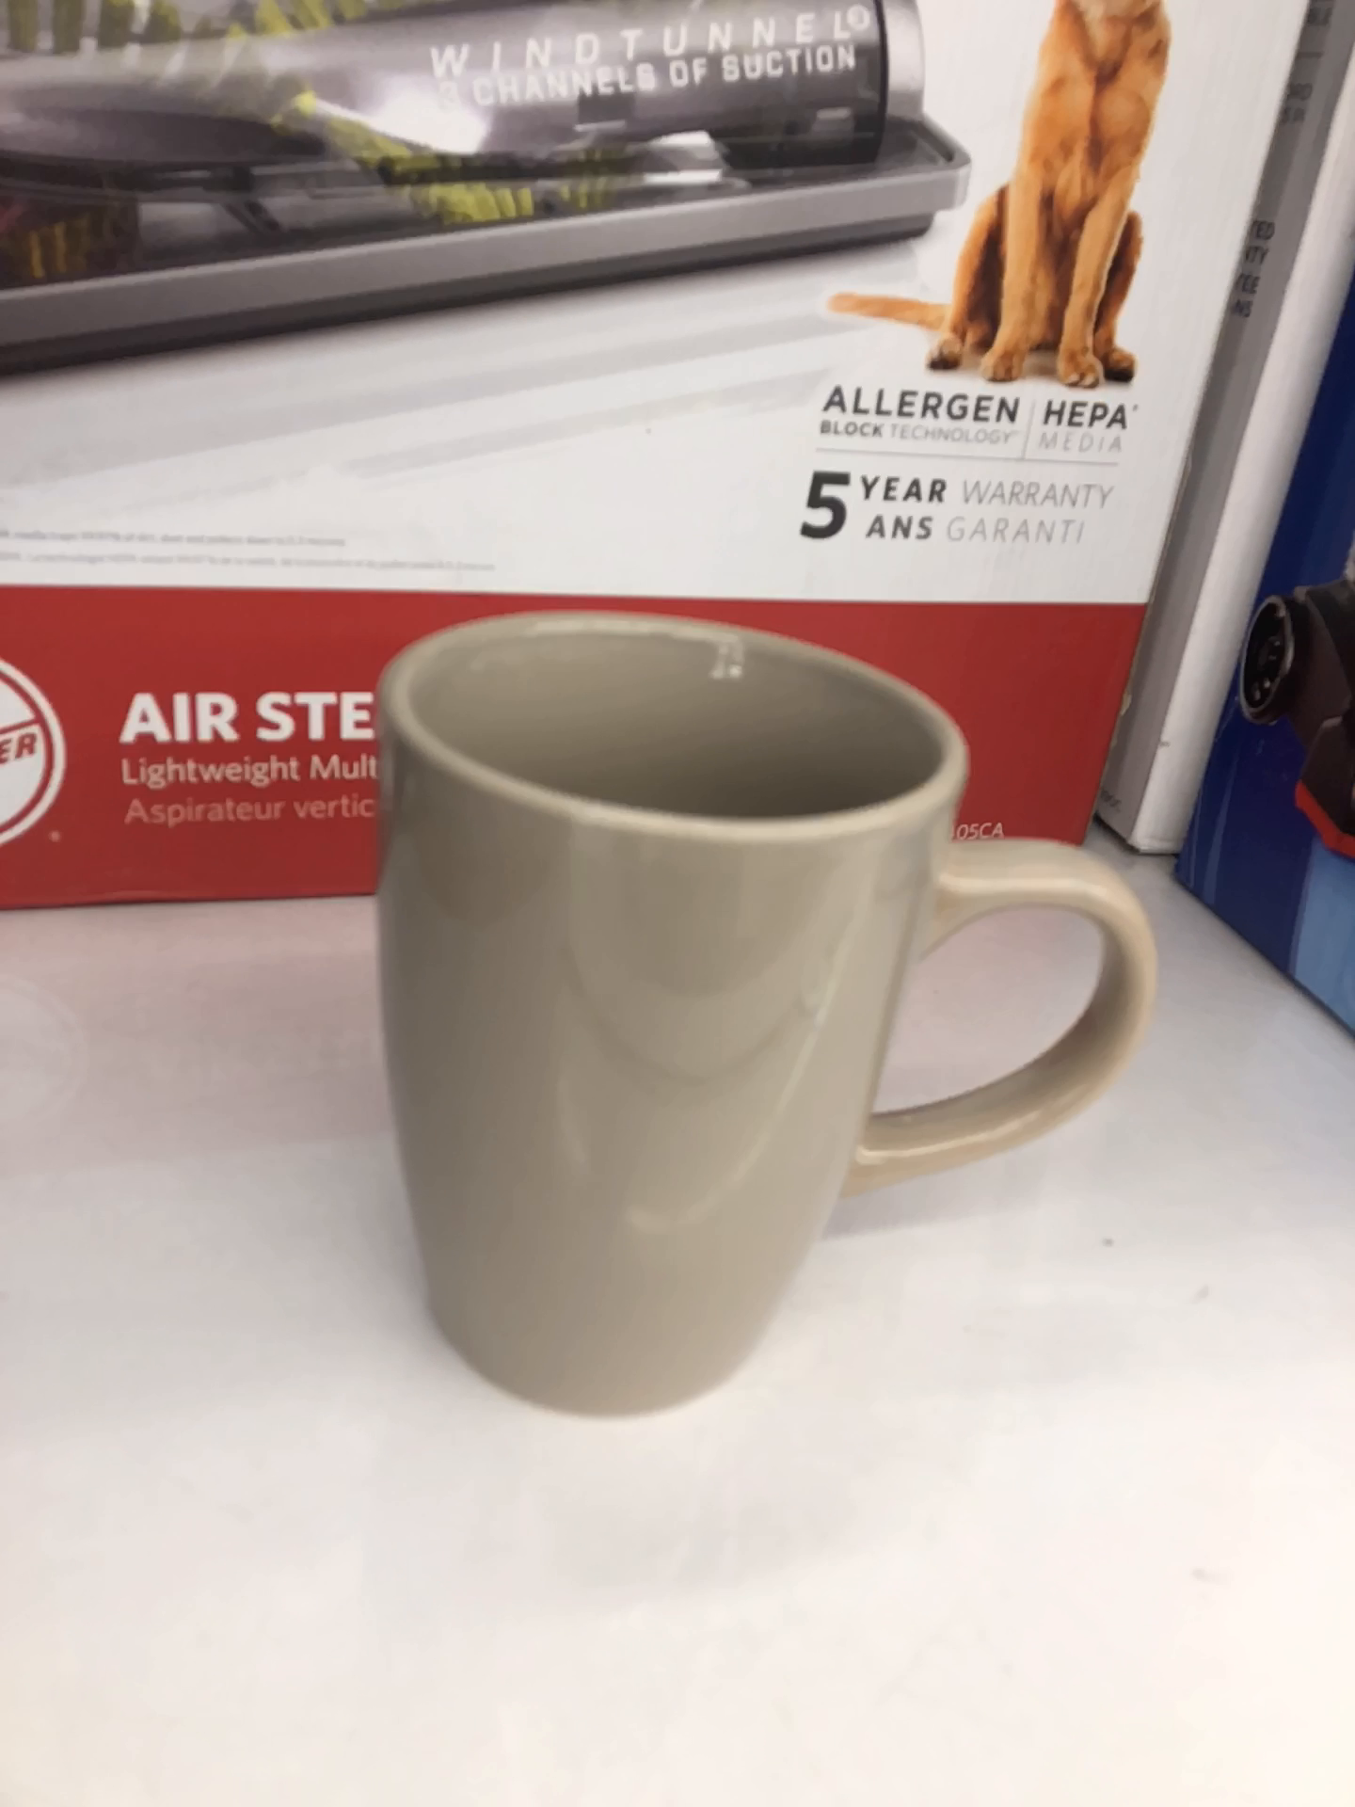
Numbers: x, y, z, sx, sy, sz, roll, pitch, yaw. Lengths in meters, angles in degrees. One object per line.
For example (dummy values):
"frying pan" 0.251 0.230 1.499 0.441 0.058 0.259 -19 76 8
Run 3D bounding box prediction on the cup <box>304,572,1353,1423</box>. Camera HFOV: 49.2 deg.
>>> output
"cup" 0.010 0.011 0.230 0.125 0.092 0.088 2 28 -10
